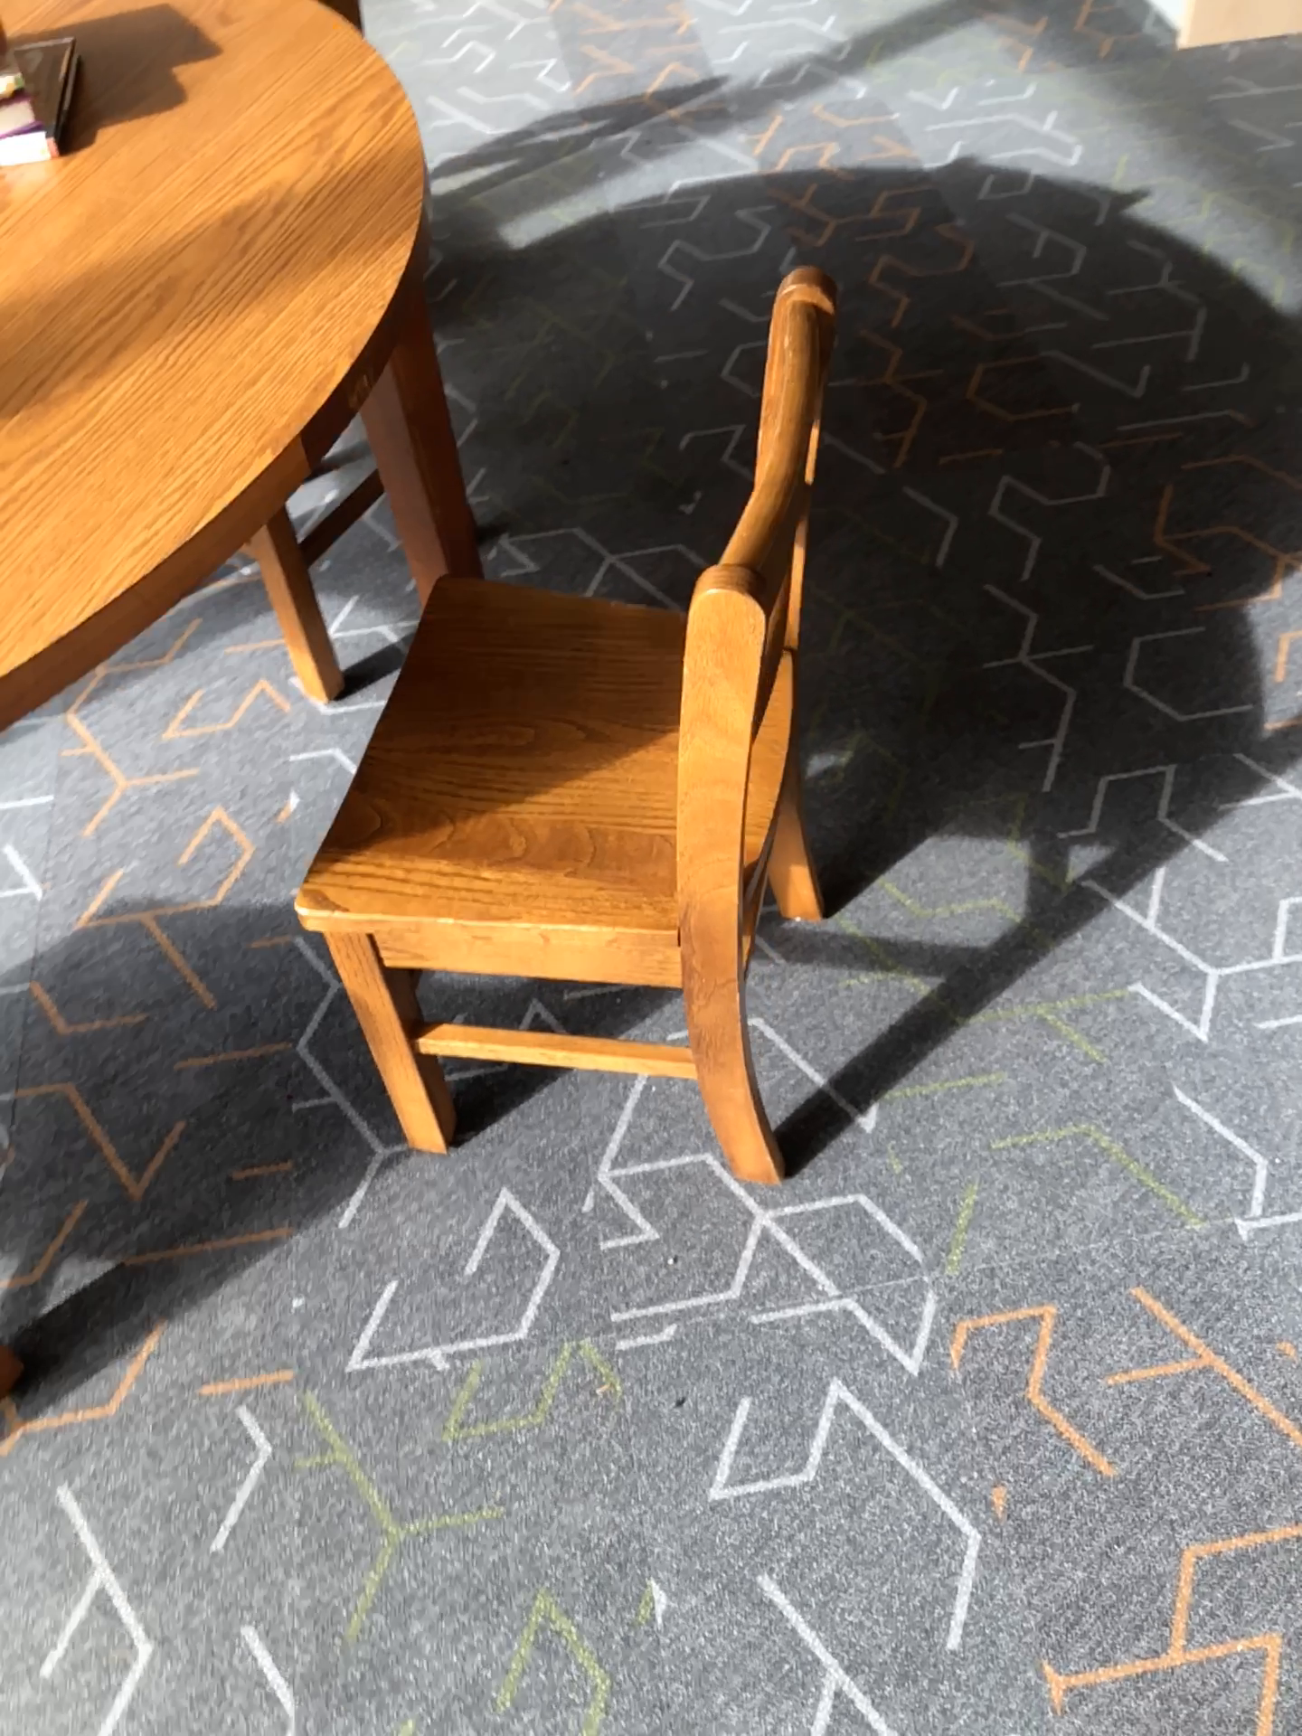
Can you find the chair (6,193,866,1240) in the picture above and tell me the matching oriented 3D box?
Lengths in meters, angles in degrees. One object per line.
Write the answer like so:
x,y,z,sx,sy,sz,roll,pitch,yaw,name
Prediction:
-0.069,-0.068,1.038,0.390,0.666,0.372,5,52,9,chair
